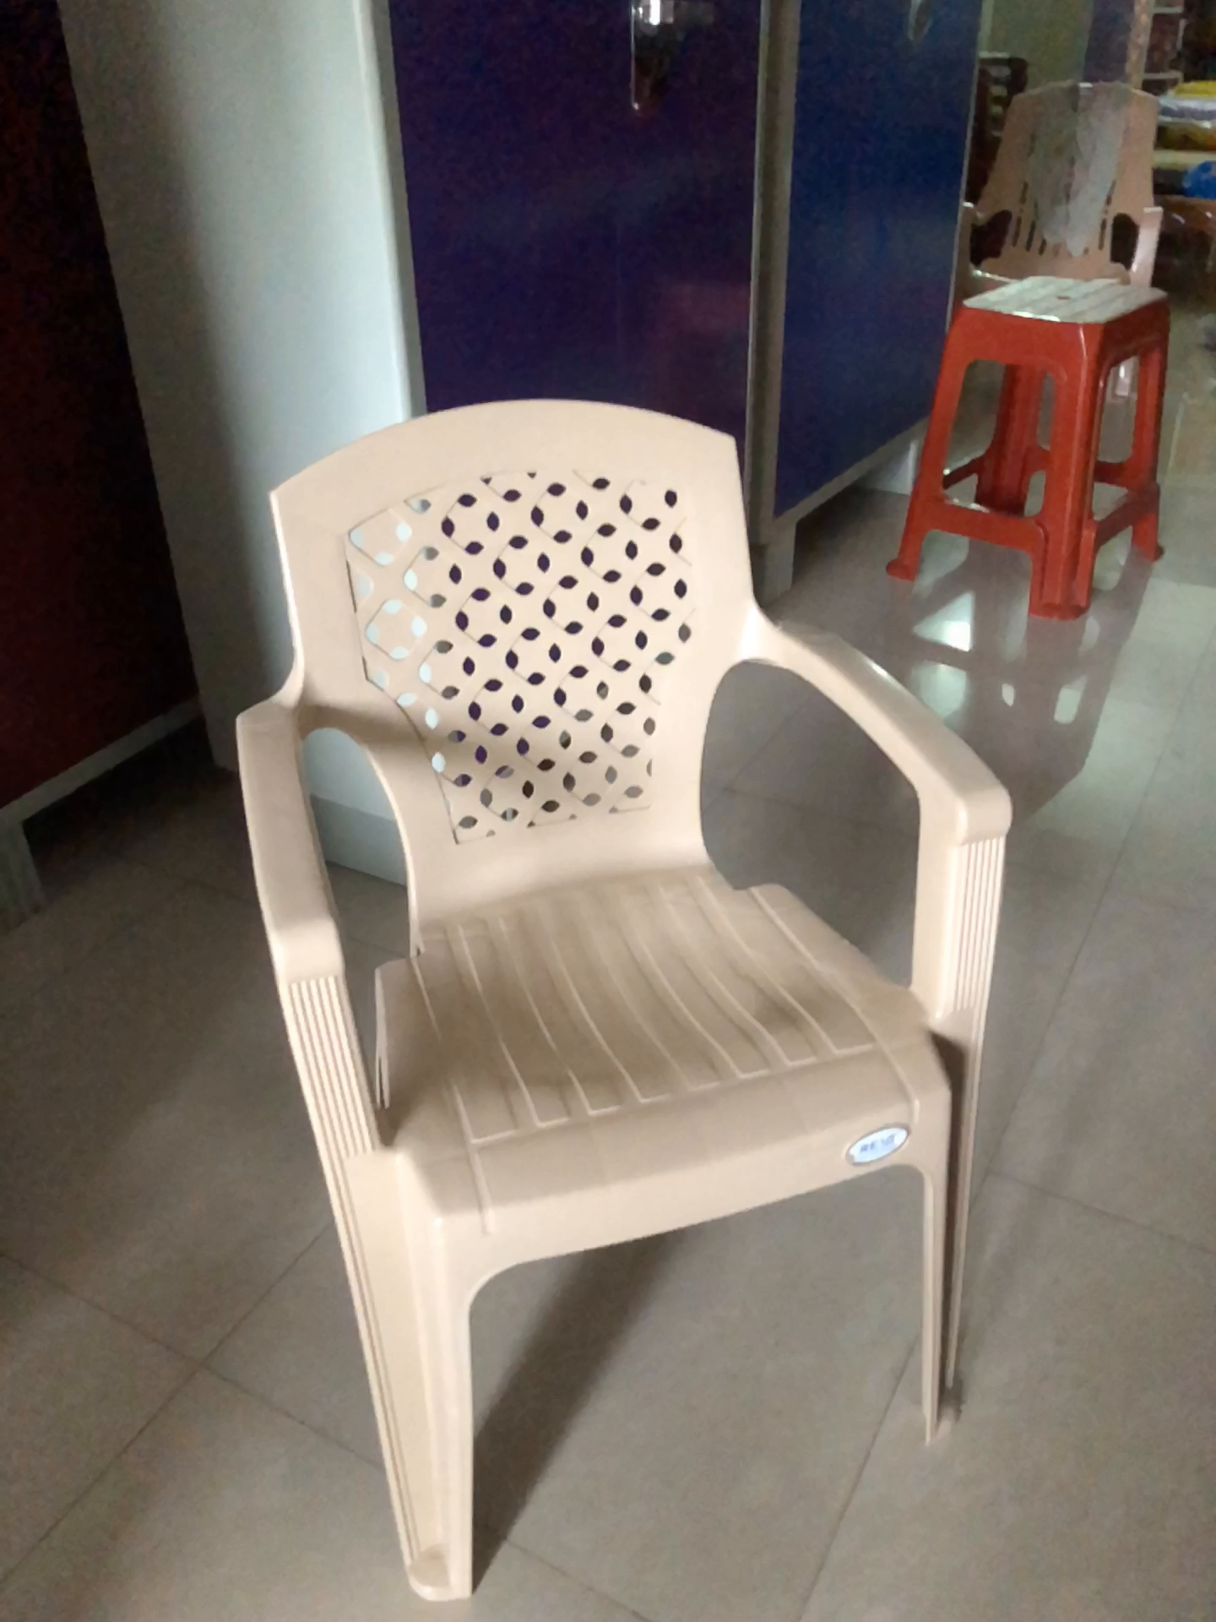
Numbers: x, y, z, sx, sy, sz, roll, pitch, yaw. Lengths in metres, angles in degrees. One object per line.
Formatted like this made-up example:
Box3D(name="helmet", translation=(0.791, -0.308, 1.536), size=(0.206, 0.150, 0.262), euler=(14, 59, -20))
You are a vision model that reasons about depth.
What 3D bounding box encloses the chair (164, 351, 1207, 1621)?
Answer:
Box3D(name="chair", translation=(0.002, 0.121, 1.107), size=(0.541, 0.796, 0.562), euler=(-11, 34, -13))
